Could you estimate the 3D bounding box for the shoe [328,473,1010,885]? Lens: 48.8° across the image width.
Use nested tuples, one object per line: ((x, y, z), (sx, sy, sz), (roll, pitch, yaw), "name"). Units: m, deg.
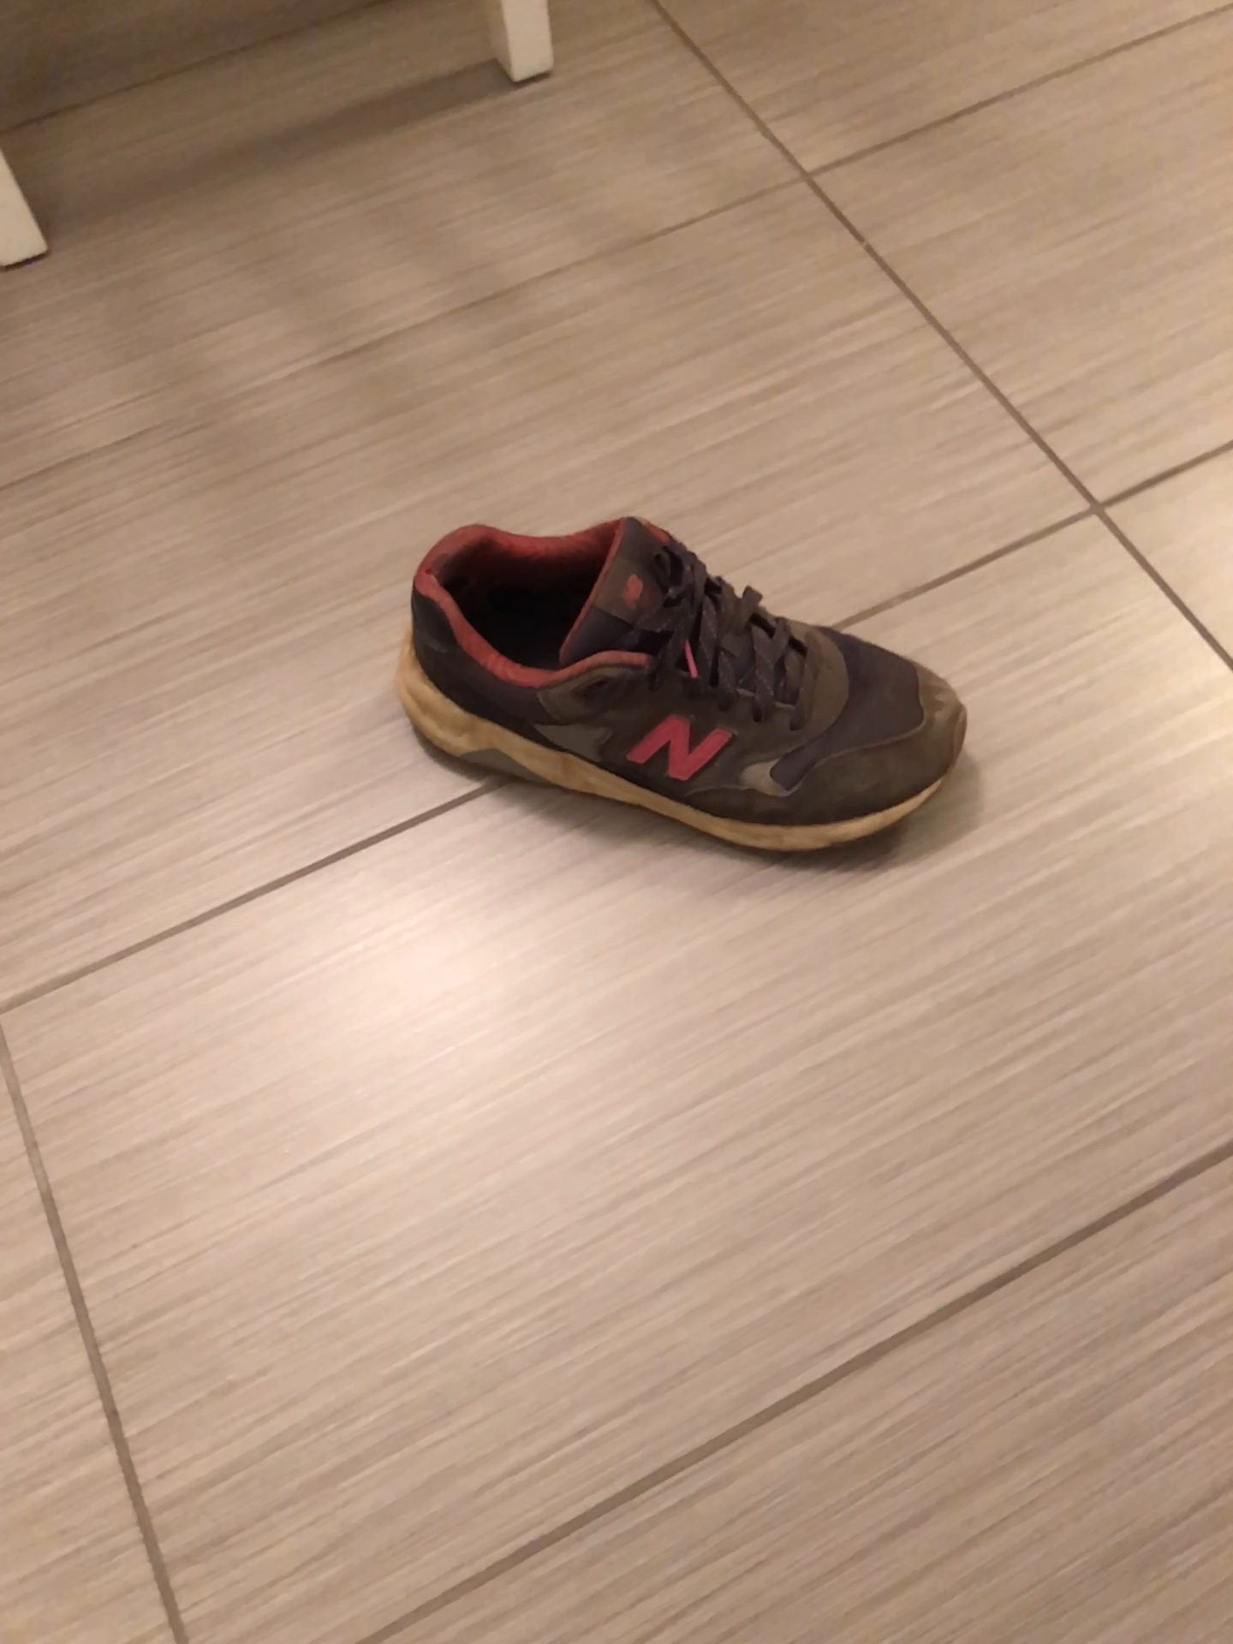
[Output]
((0.025, -0.067, 0.609), (0.270, 0.070, 0.120), (11, 64, 9), "shoe")
